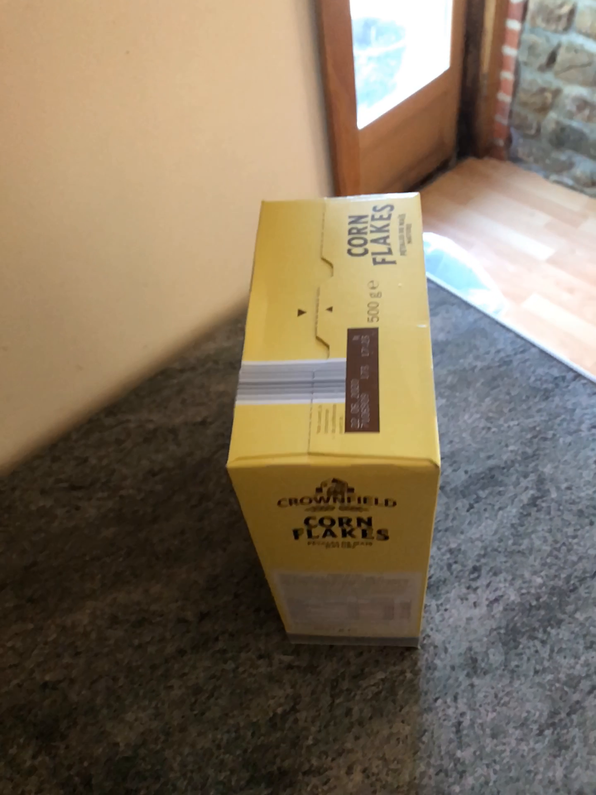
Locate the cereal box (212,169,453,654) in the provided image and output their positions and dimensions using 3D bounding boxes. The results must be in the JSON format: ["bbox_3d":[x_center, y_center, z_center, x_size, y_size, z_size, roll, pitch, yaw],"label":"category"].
[{"bbox_3d":[0.034,0.024,0.437,0.100,0.259,0.201,-1,52,7],"label":"cereal box"}]
